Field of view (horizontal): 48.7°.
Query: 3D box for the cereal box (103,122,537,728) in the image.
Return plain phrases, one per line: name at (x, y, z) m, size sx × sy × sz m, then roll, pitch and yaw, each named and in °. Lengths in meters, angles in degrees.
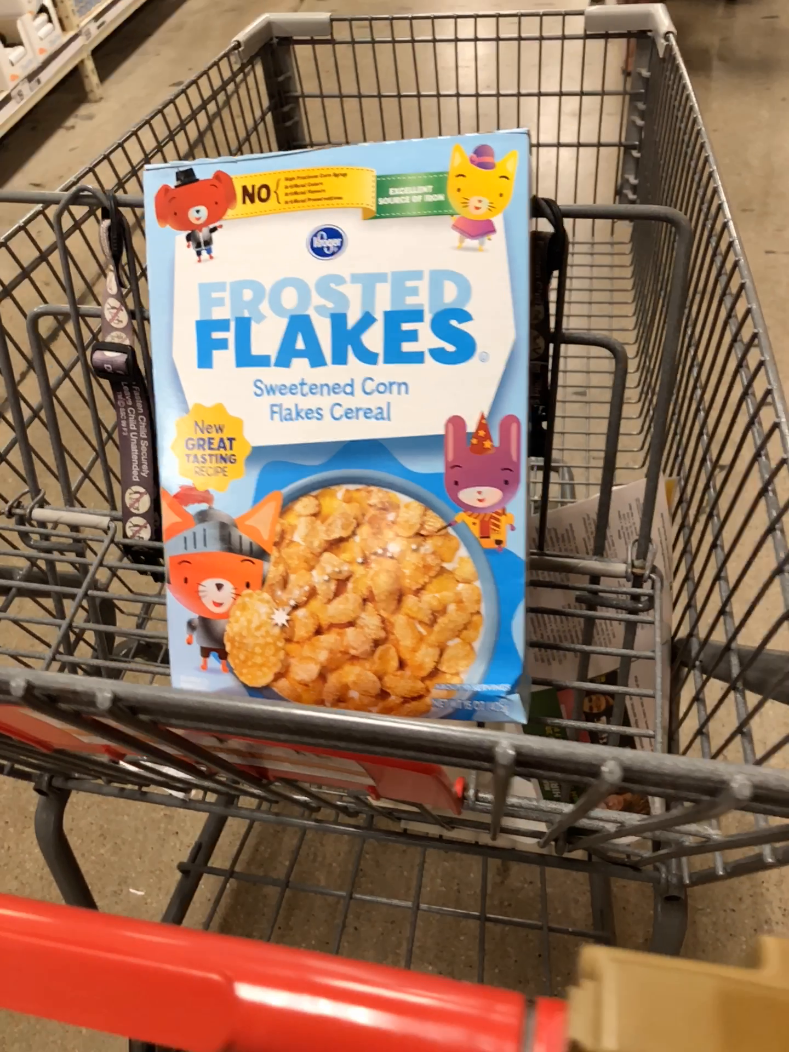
cereal box at (-0.032, -0.046, 0.439) m, size 0.200 × 0.270 × 0.070 m, roll 1°, pitch 6°, yaw 8°
